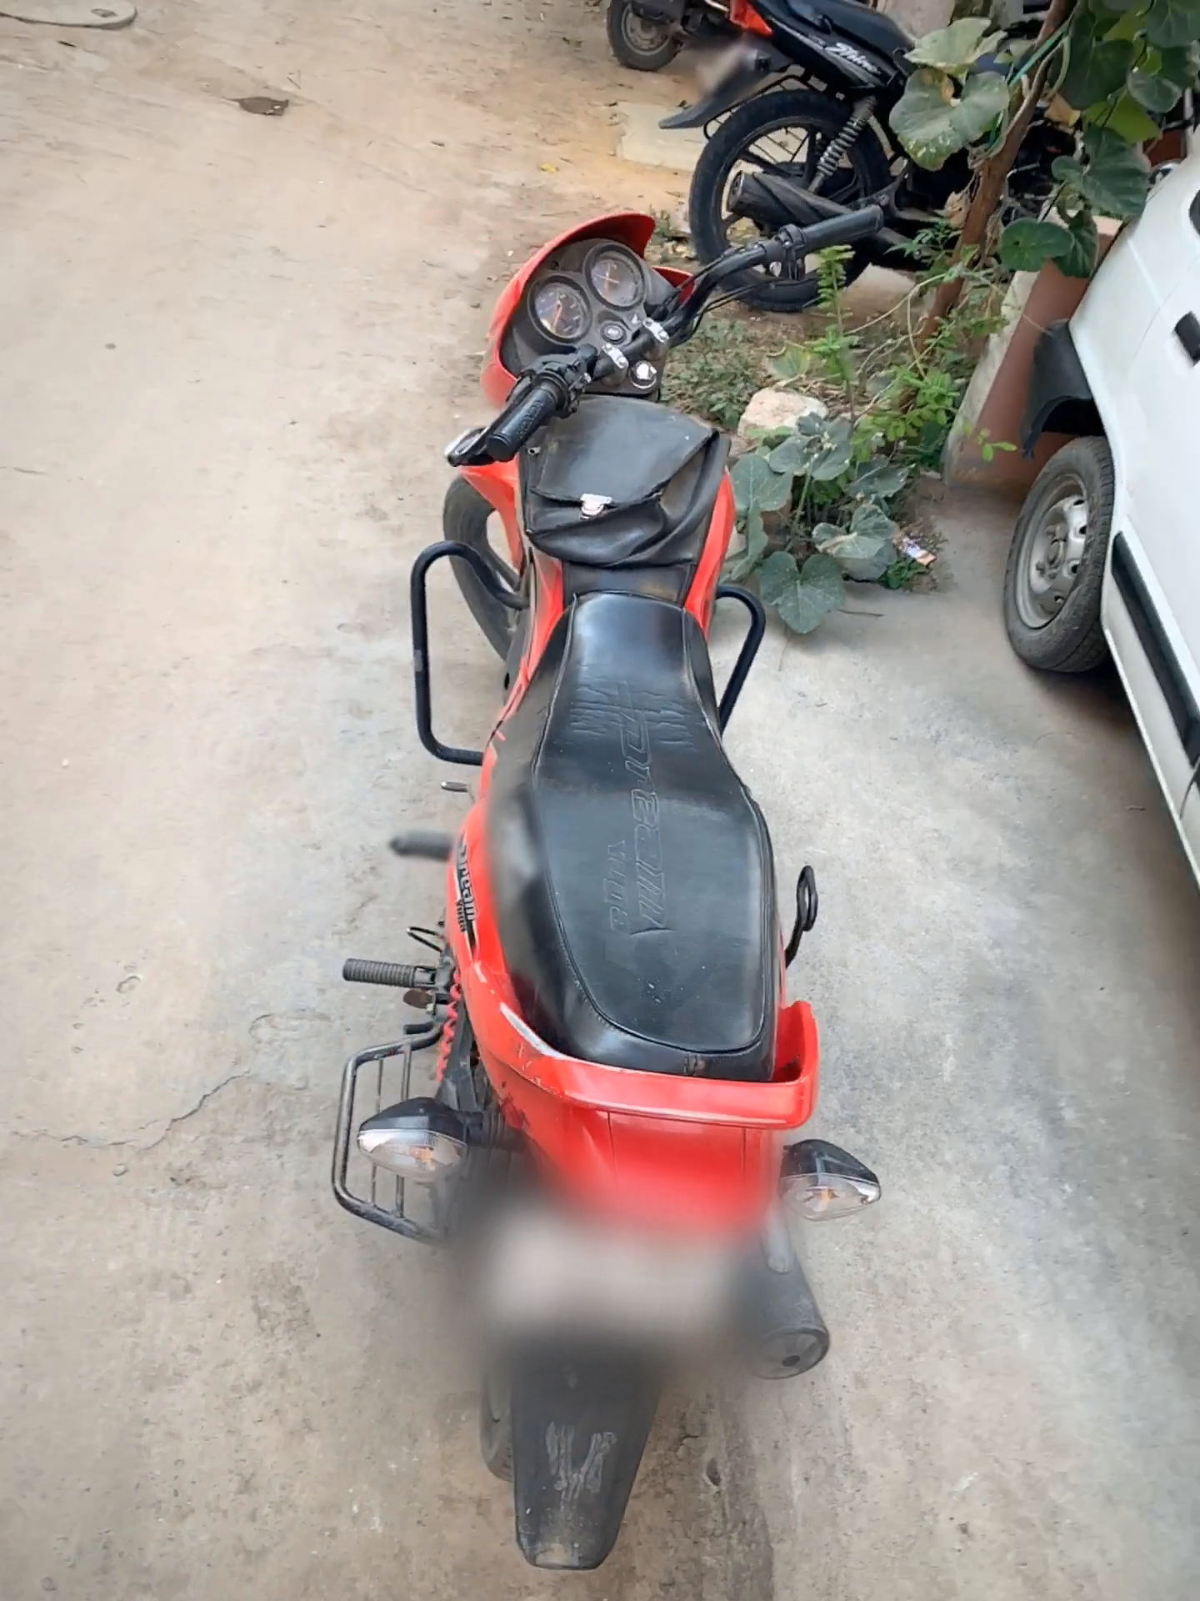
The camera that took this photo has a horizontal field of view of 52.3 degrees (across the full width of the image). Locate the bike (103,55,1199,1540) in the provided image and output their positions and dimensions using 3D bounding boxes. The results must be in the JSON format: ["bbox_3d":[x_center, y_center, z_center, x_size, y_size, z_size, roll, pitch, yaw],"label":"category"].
[{"bbox_3d":[-0.101,-0.101,1.668,0.758,1.093,1.715,3,44,-12],"label":"bike"}]
